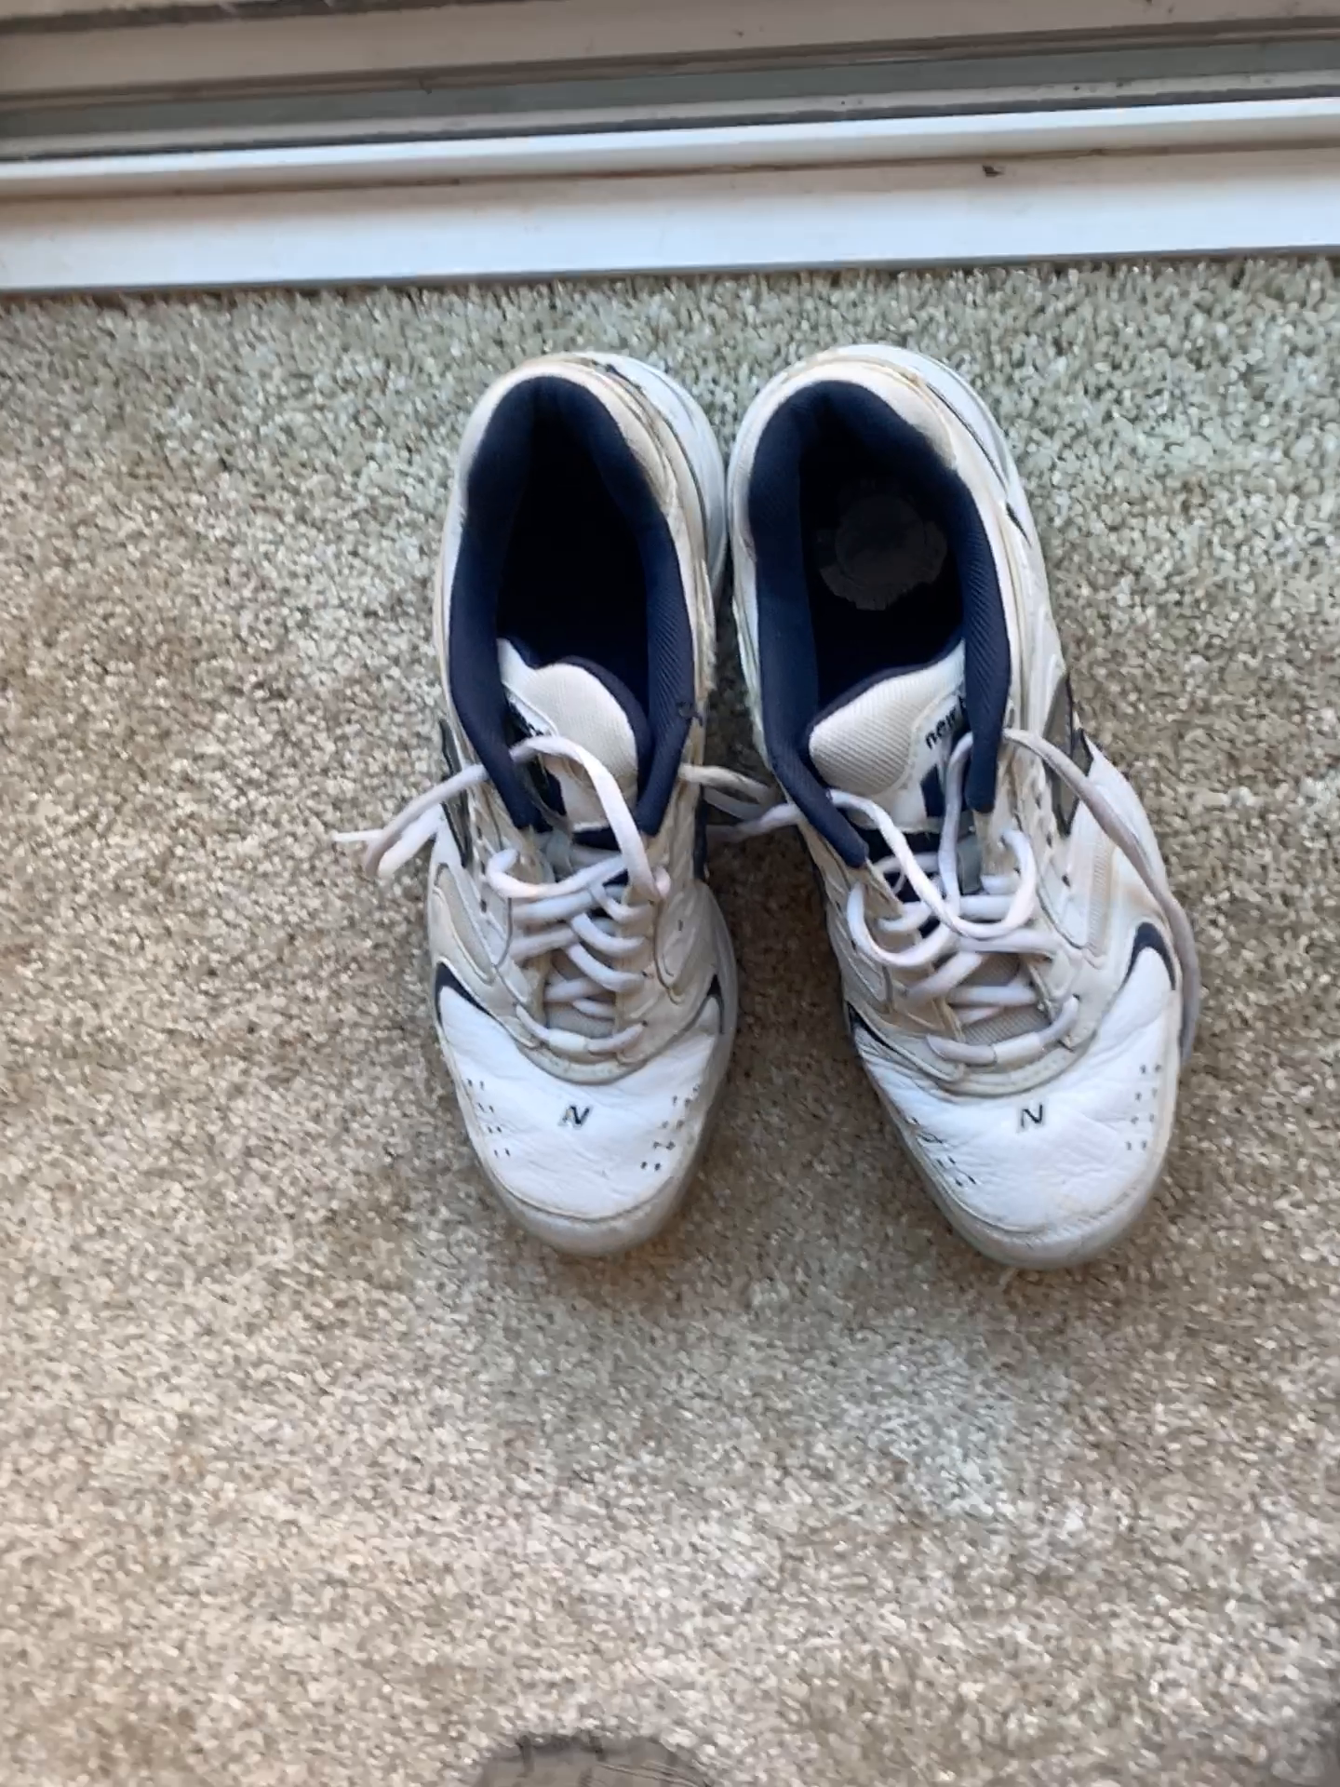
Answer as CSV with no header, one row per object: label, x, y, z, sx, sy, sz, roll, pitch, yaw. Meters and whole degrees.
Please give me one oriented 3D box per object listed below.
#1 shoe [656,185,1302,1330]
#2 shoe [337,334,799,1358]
shoe,0.092,-0.032,0.410,0.110,0.110,0.280,-12,99,12
shoe,-0.025,-0.015,0.414,0.110,0.100,0.270,3,101,9
